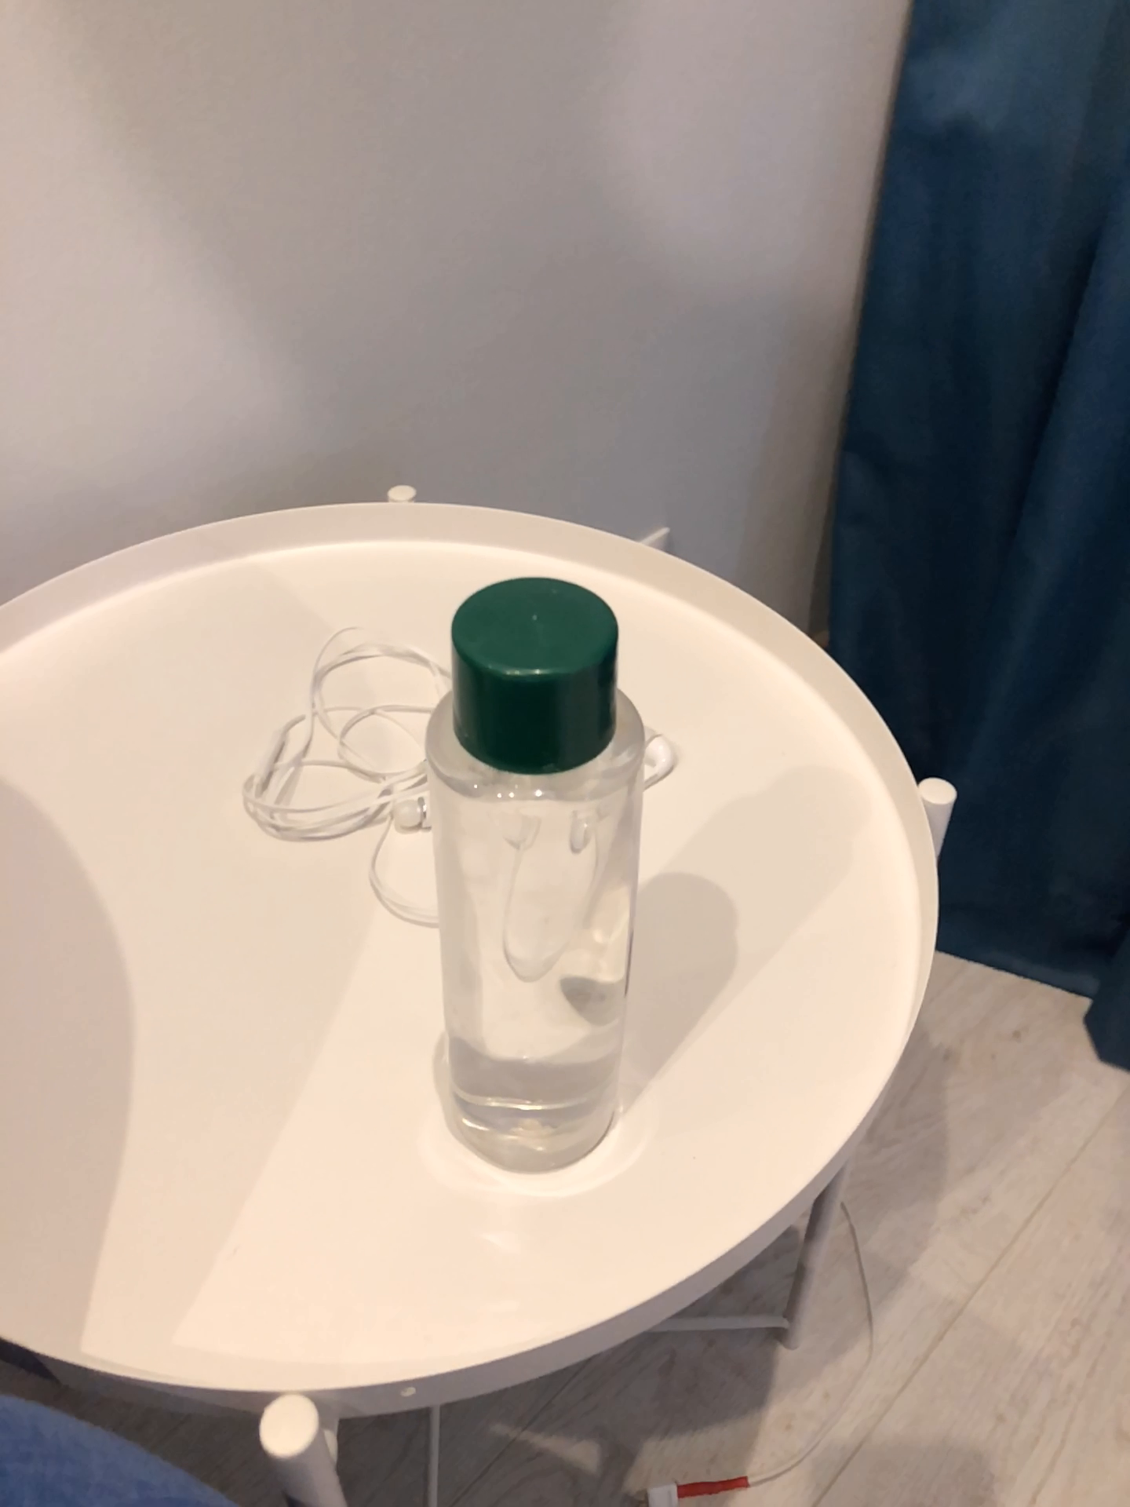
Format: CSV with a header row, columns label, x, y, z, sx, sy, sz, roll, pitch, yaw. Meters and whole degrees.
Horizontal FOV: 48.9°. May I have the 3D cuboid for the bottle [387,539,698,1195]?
label,x,y,z,sx,sy,sz,roll,pitch,yaw
bottle,-0.008,0.043,0.354,0.059,0.199,0.052,-12,43,-15
